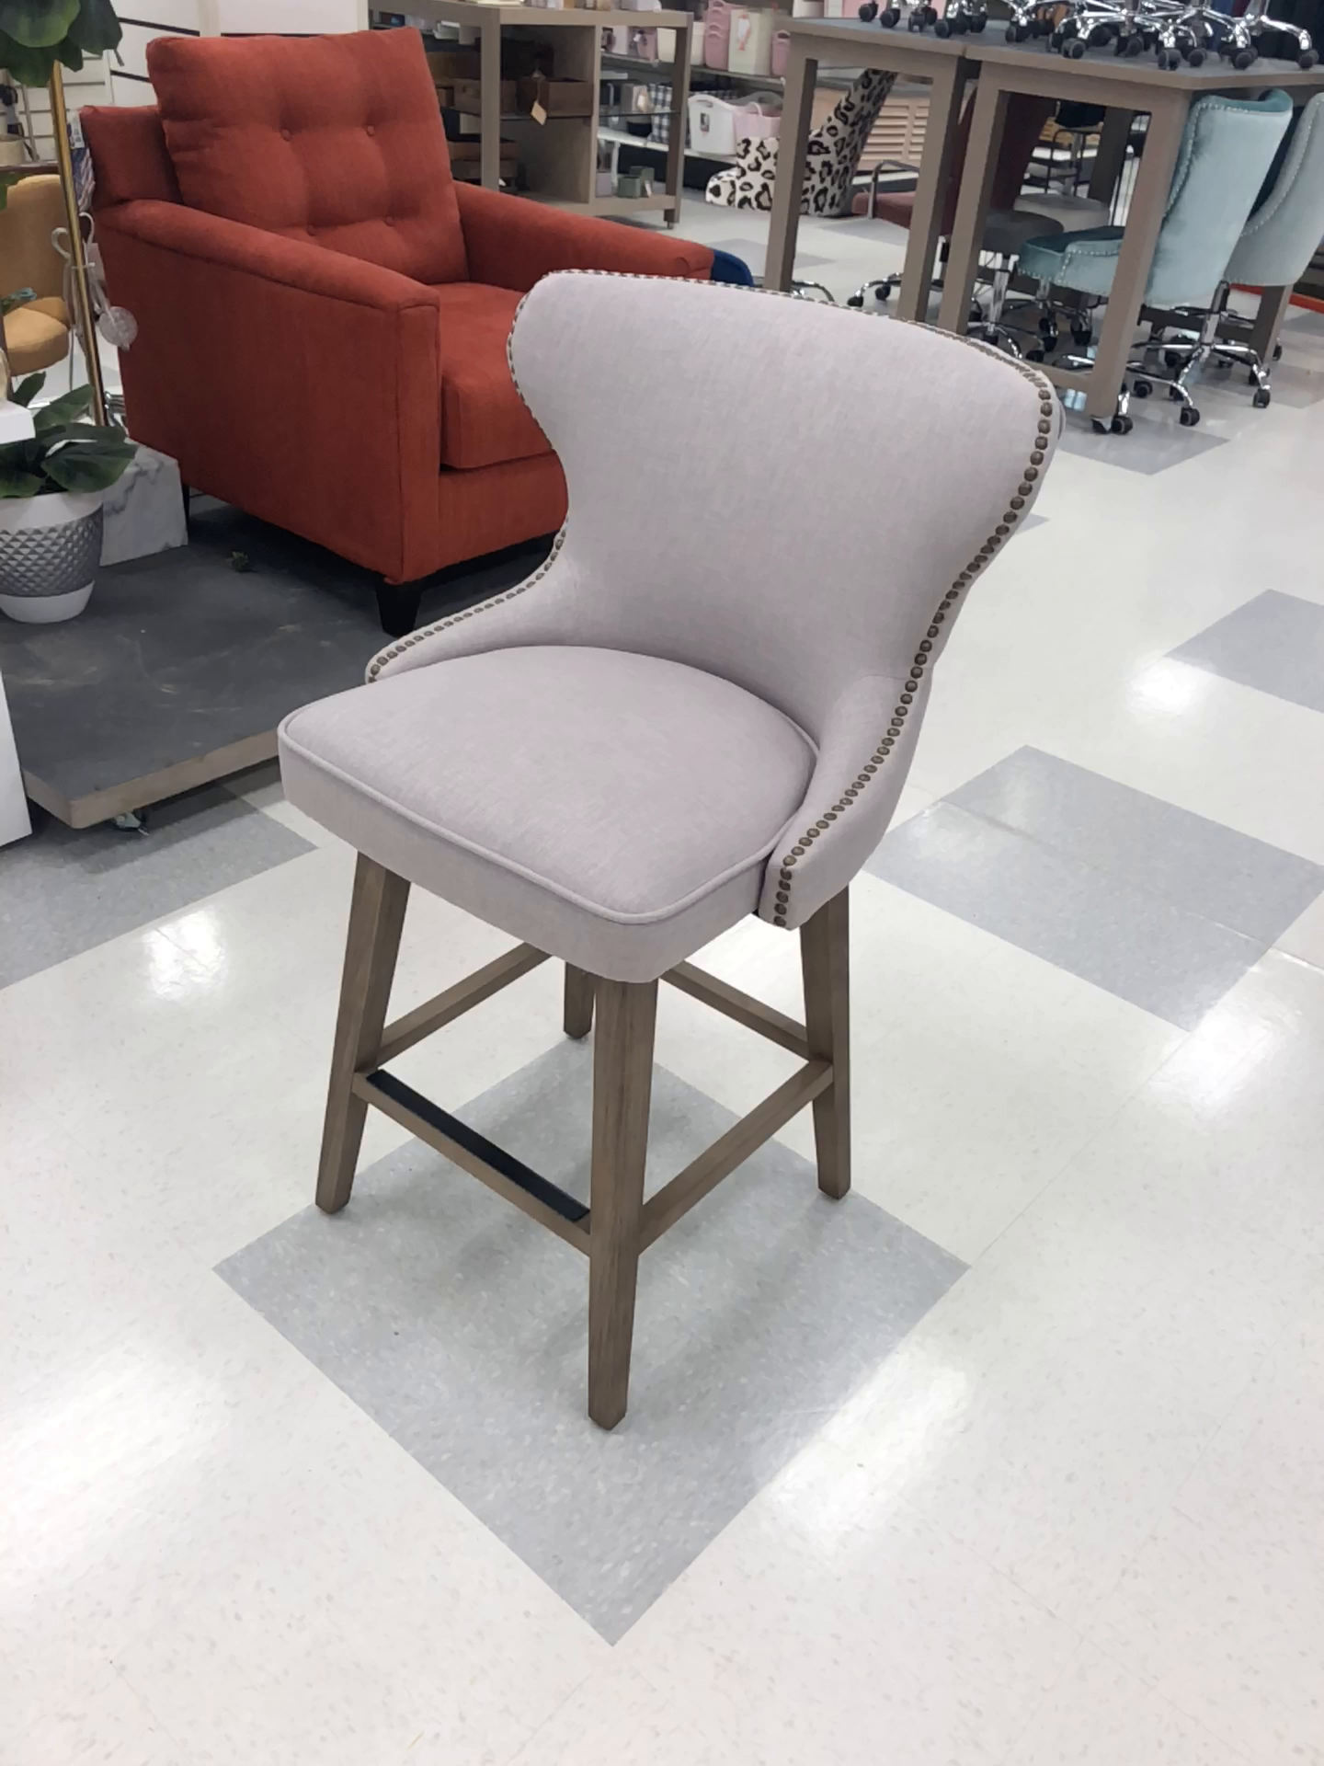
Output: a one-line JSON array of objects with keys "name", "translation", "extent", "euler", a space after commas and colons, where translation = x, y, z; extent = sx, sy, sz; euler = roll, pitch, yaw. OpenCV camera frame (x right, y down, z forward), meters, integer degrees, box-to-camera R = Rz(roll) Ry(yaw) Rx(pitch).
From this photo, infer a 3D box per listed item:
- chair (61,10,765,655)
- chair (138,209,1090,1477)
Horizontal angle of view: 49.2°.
[{"name": "chair", "translation": [-0.507, -1.207, 3.032], "extent": [0.999, 0.969, 0.913], "euler": [30, 40, 34]}, {"name": "chair", "translation": [-0.071, -0.060, 1.439], "extent": [0.609, 0.999, 0.479], "euler": [26, 38, 30]}]
